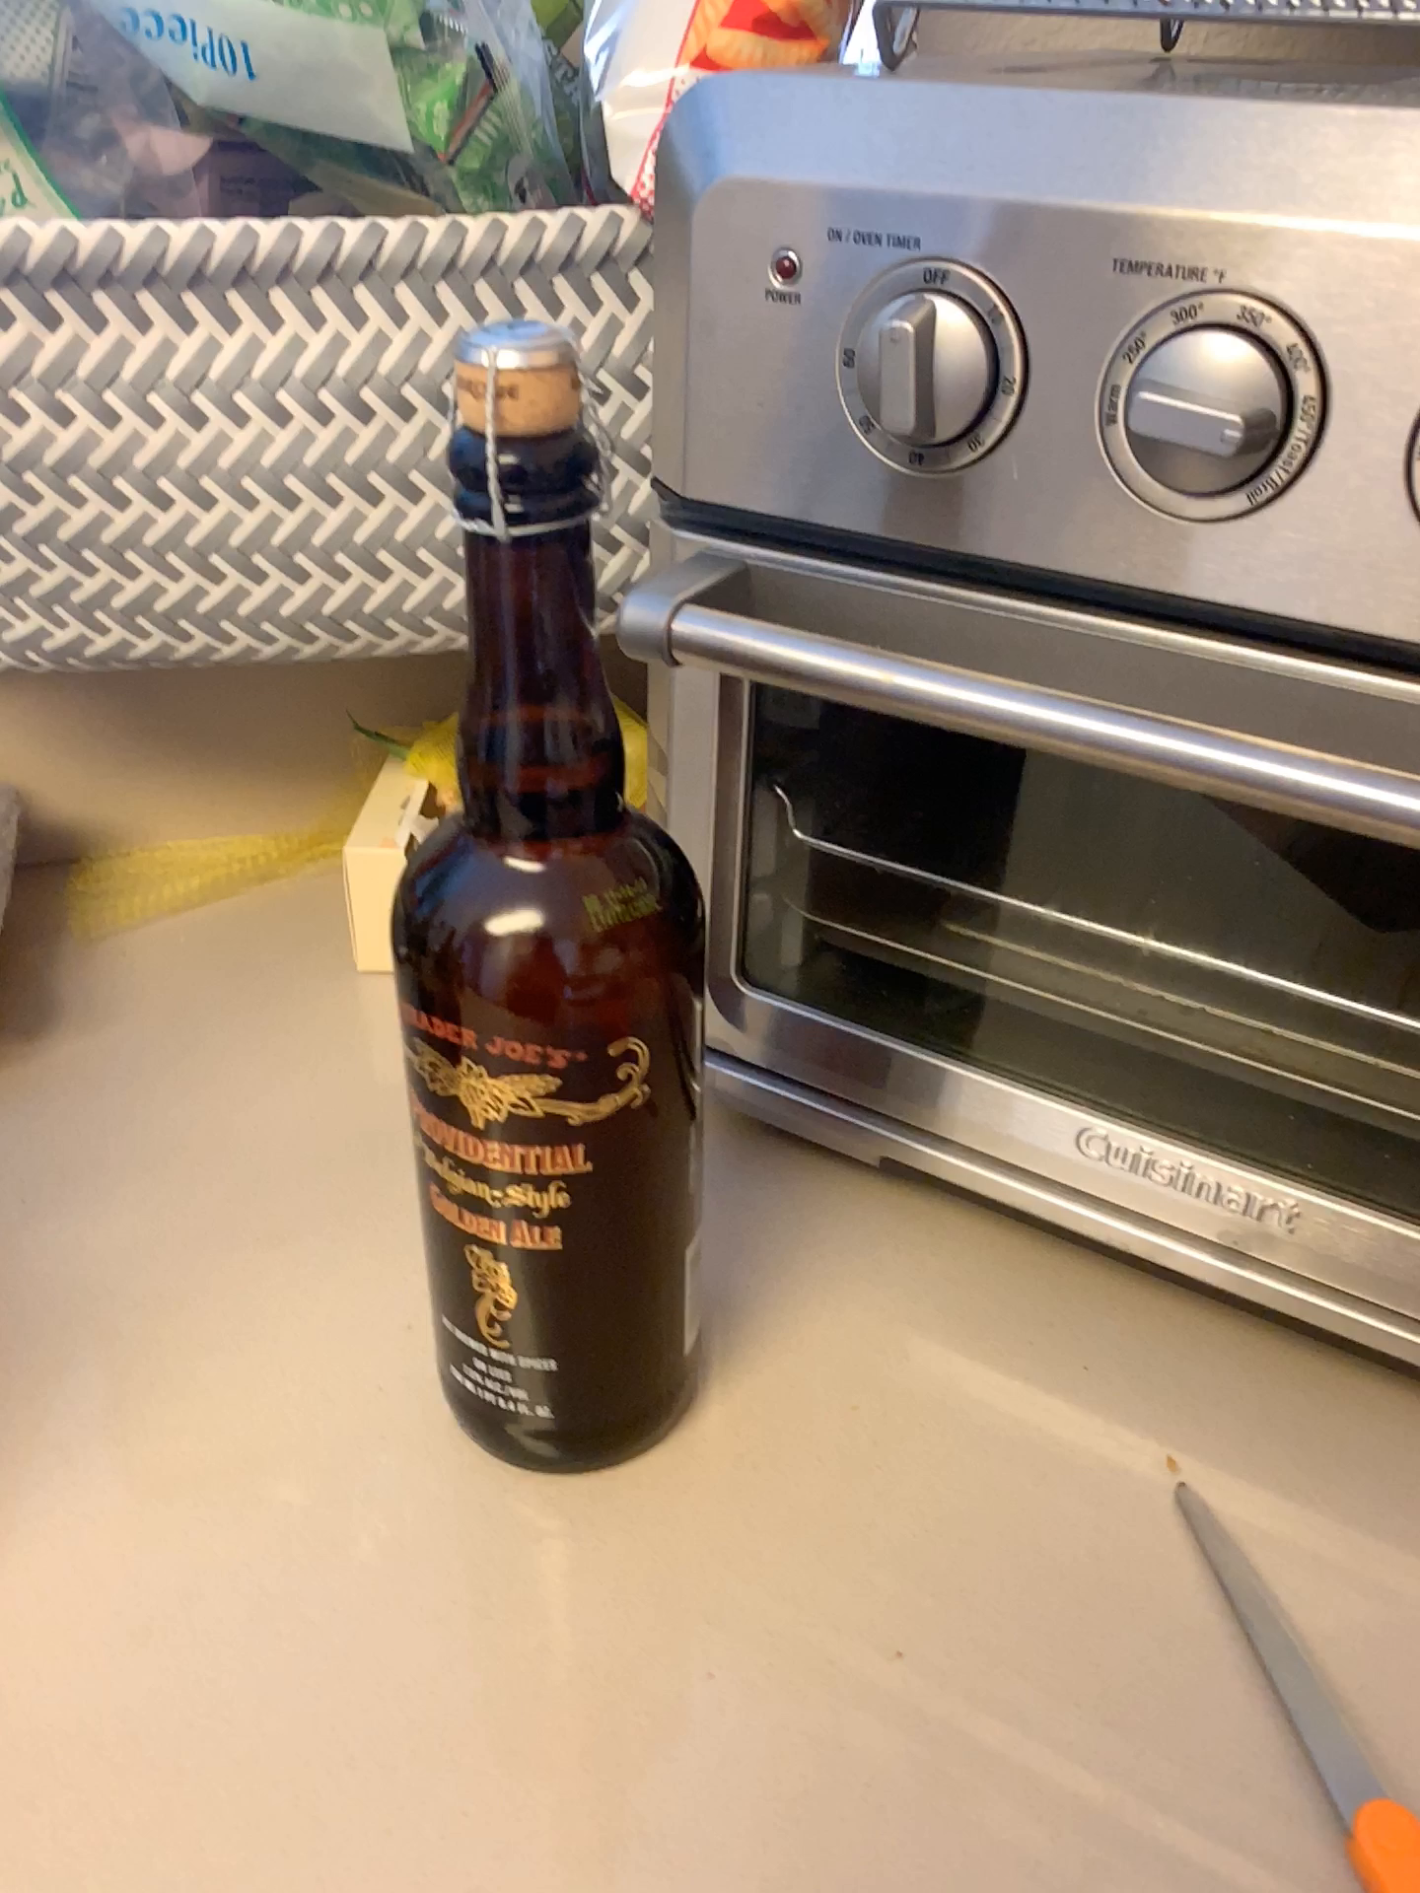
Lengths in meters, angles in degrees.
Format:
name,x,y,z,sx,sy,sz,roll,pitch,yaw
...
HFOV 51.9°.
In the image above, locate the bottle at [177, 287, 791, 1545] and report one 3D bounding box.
name,x,y,z,sx,sy,sz,roll,pitch,yaw
bottle,-0.044,0.006,0.365,0.090,0.298,0.080,15,35,21
